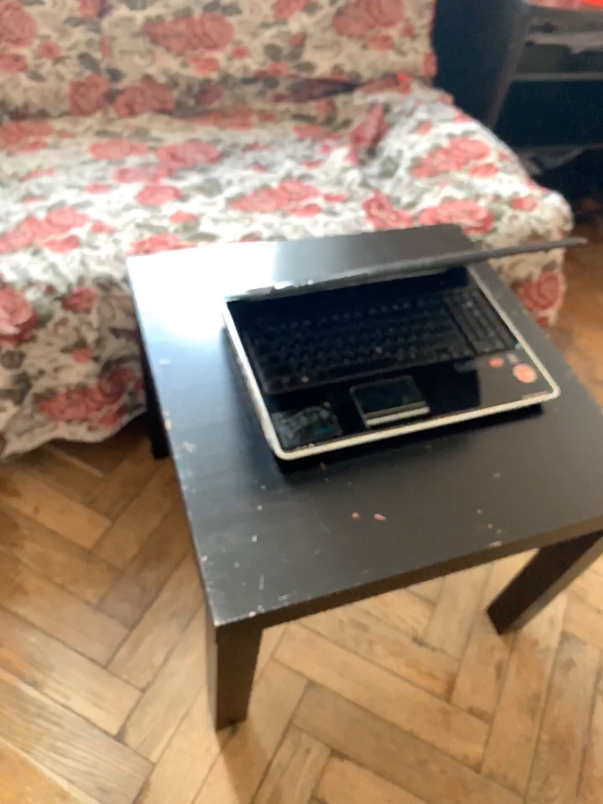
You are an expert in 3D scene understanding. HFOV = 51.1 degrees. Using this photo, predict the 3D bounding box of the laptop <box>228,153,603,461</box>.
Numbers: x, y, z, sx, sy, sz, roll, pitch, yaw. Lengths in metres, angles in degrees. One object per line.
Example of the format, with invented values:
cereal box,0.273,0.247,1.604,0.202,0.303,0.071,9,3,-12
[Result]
laptop,0.126,-0.126,0.742,0.365,0.177,0.252,-12,54,-17
